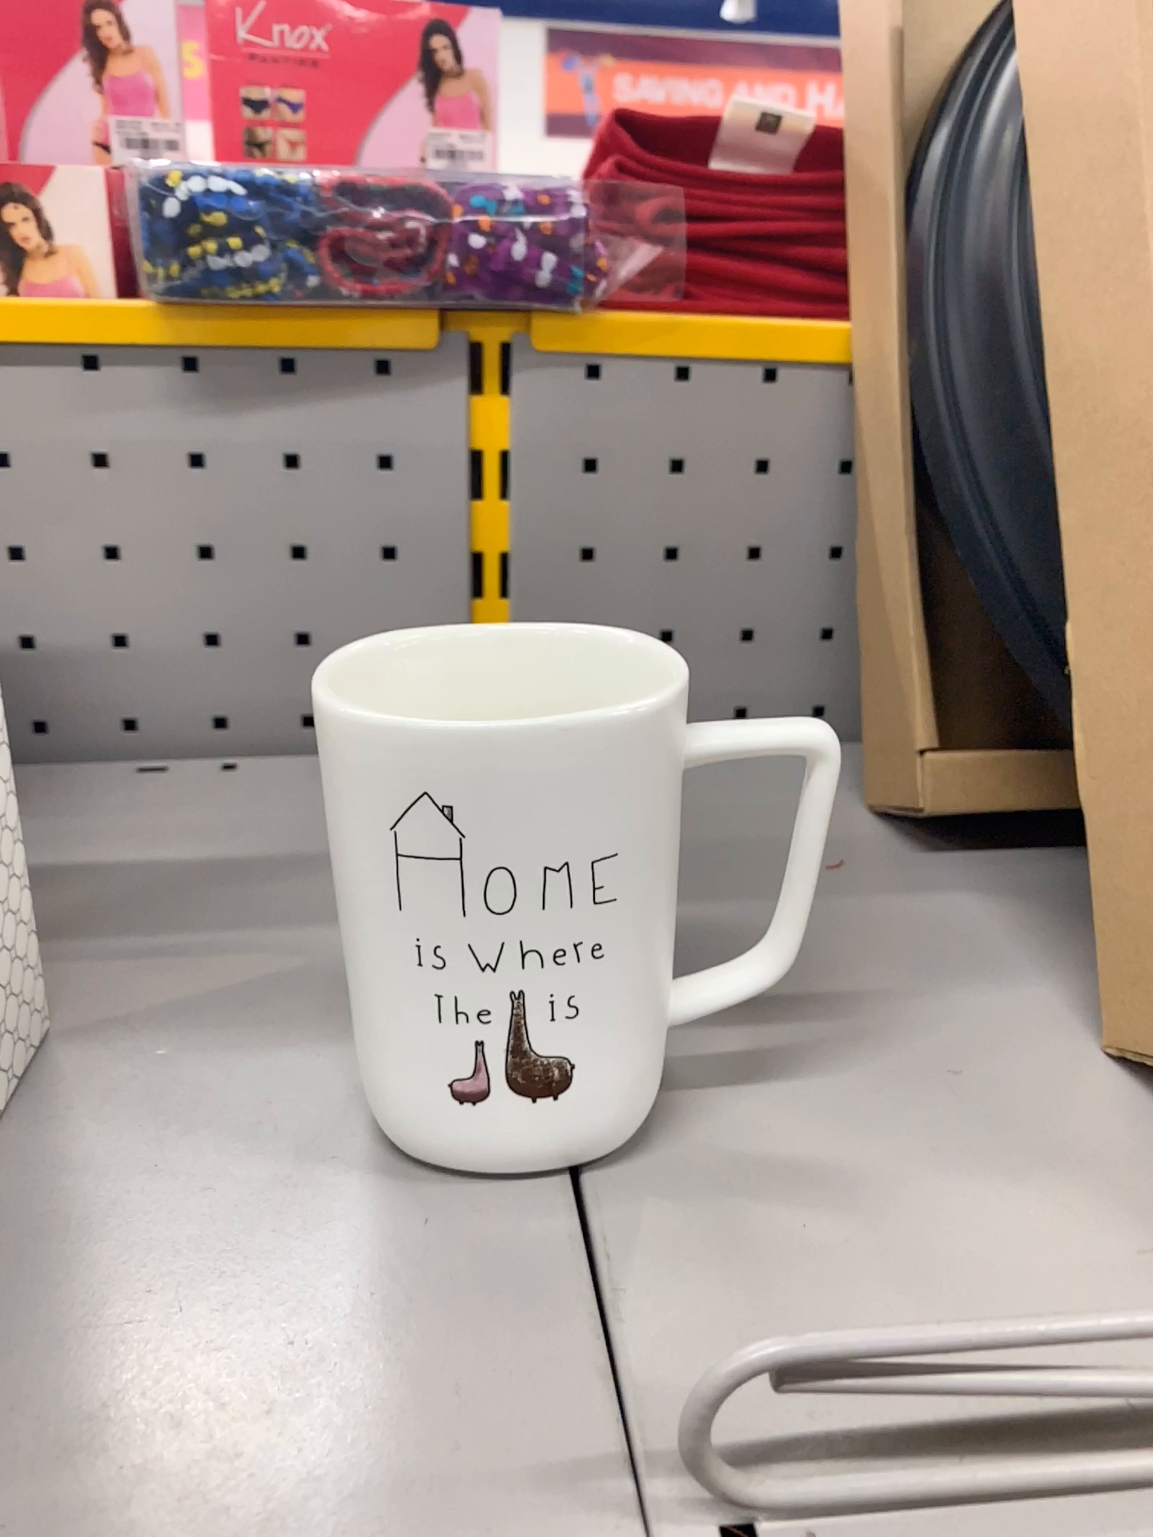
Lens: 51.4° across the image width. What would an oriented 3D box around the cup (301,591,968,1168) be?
[{"bbox_3d":[0.006,0.019,0.262,0.120,0.100,0.070,-1,21,-8],"label":"cup"}]
